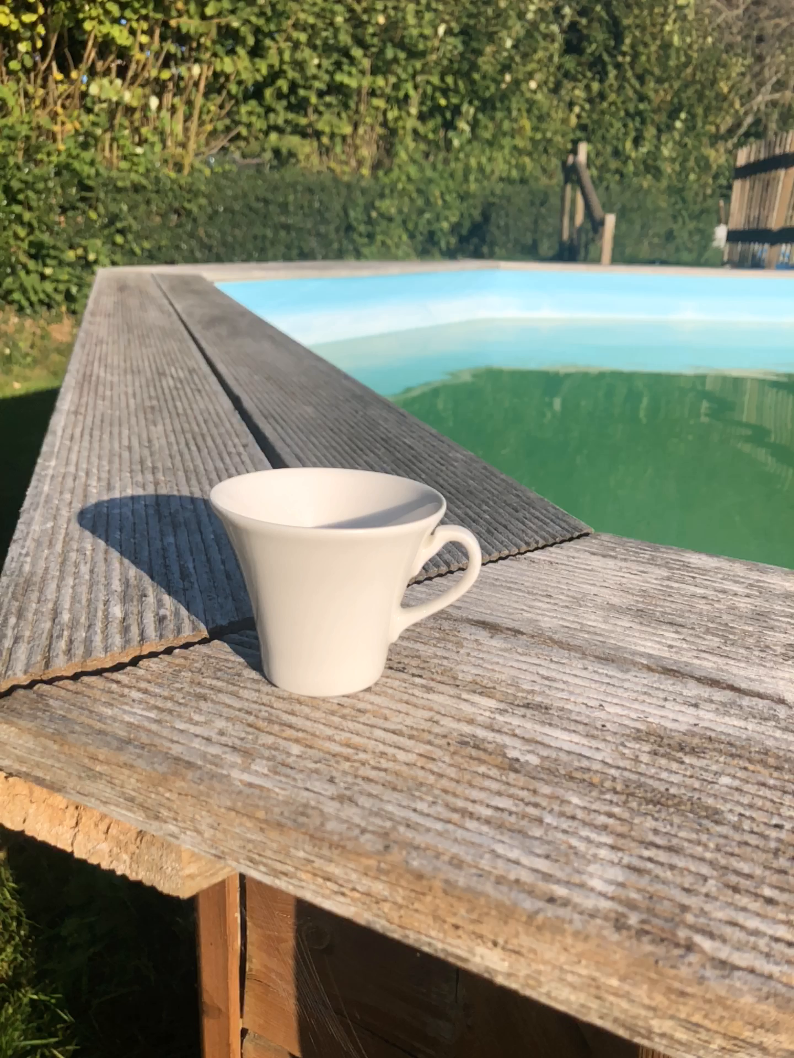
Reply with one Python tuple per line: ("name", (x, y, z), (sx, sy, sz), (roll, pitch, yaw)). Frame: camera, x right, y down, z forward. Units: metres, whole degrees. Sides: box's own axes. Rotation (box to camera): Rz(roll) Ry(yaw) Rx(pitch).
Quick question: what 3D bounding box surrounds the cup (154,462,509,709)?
("cup", (-0.020, 0.015, 0.284), (0.097, 0.053, 0.077), (1, 18, -4))
